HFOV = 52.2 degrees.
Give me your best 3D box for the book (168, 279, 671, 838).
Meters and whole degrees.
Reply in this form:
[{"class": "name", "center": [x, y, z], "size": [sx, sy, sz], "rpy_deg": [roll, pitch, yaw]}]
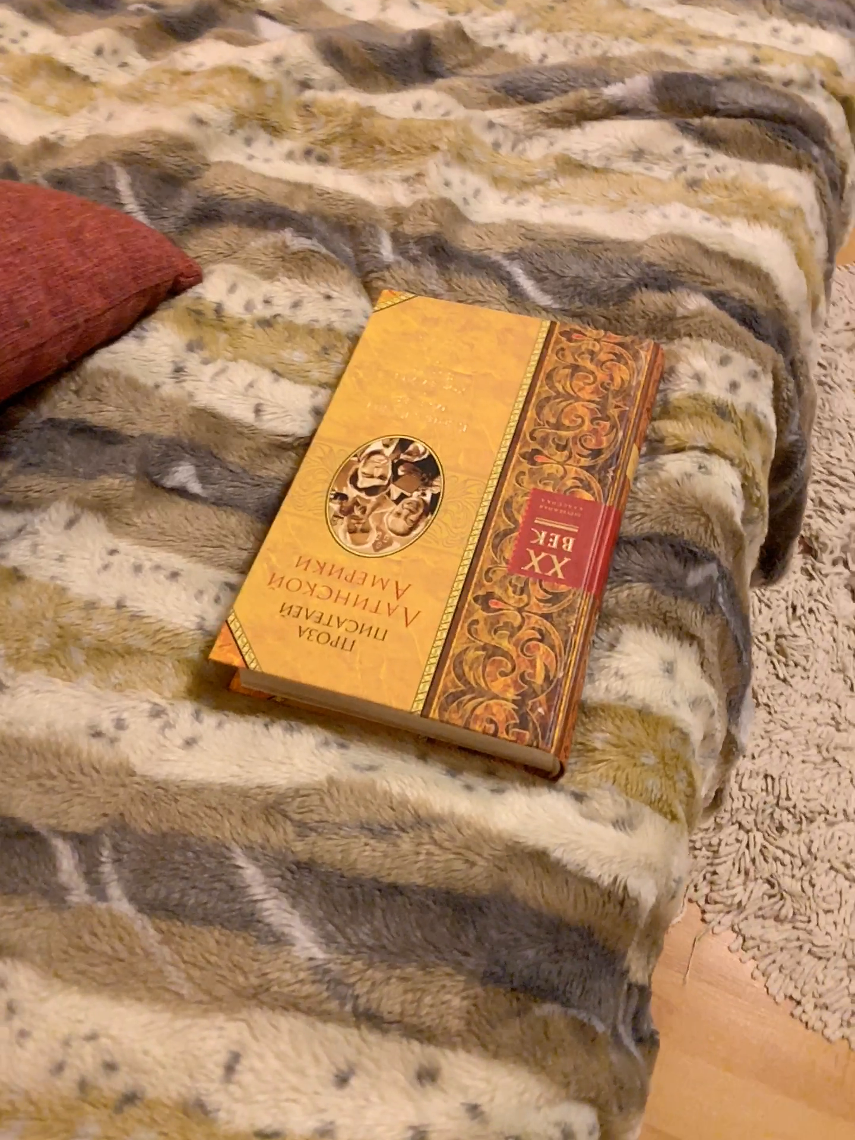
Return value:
[{"class": "book", "center": [0.011, -0.024, 0.461], "size": [0.180, 0.060, 0.272], "rpy_deg": [14, 61, 10]}]
